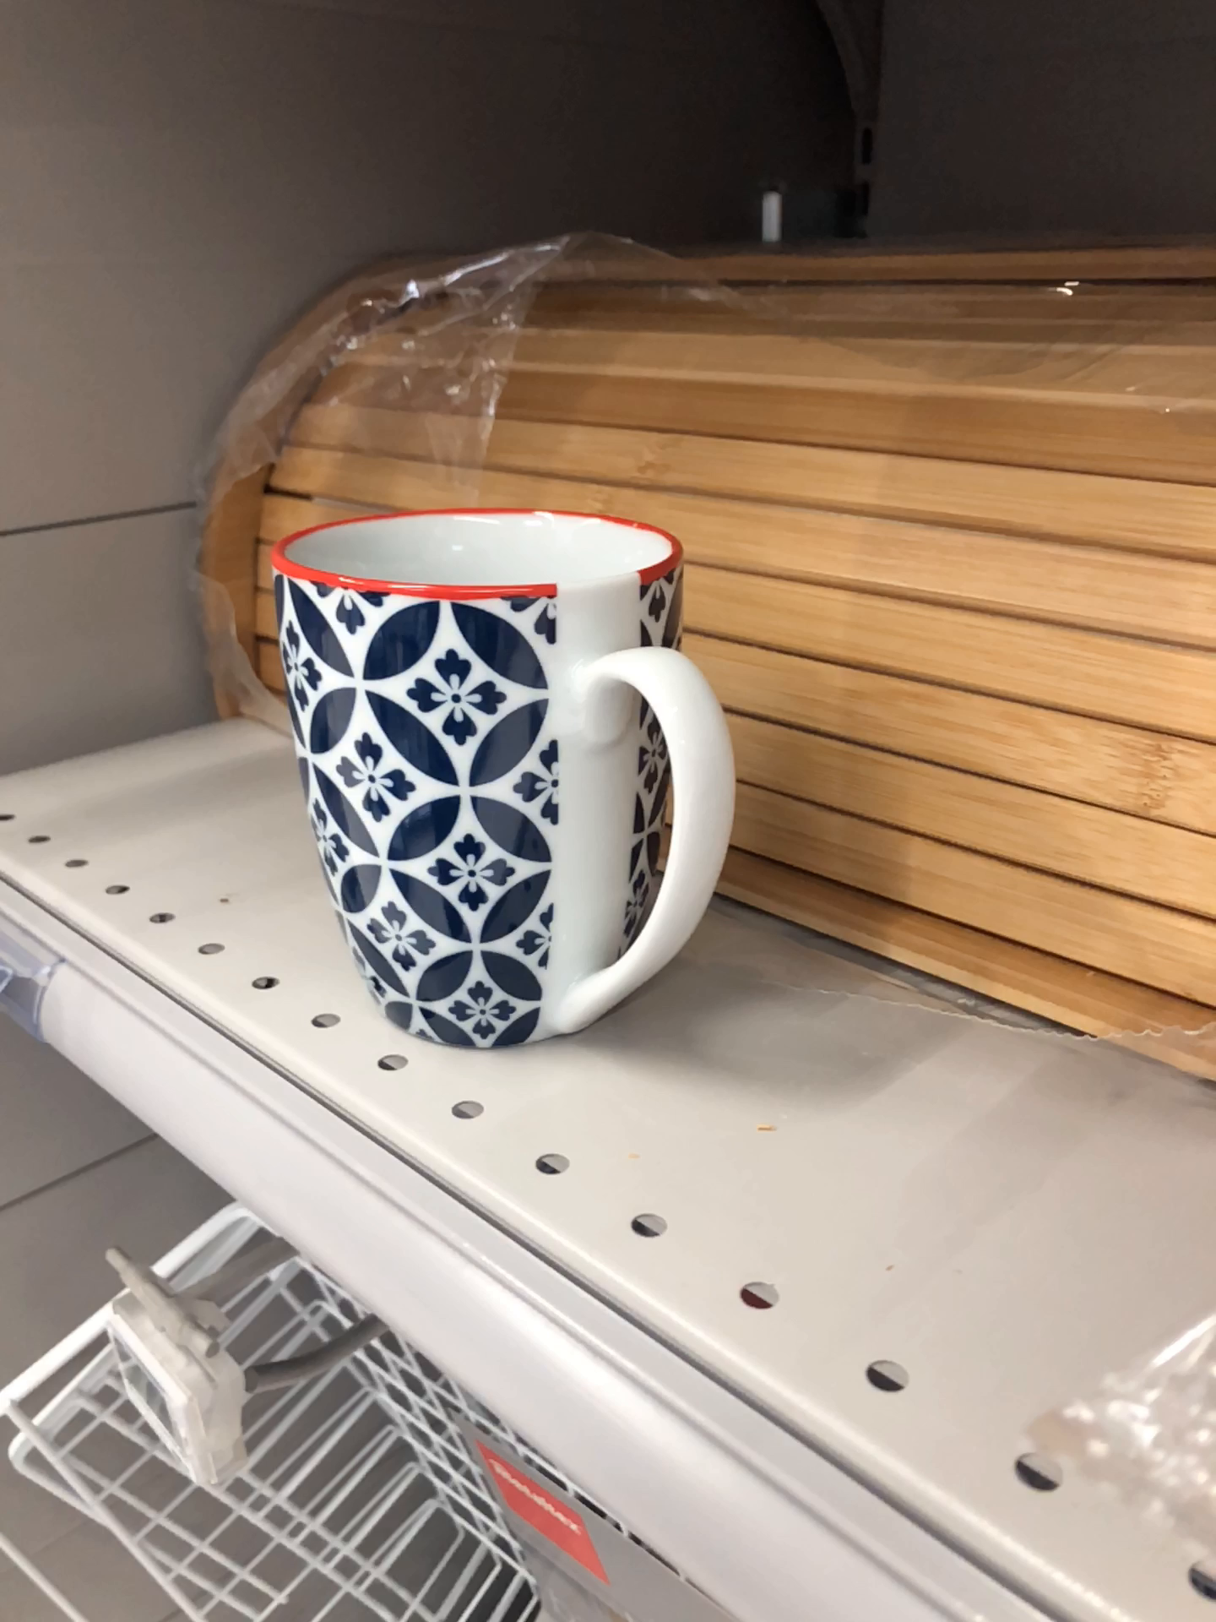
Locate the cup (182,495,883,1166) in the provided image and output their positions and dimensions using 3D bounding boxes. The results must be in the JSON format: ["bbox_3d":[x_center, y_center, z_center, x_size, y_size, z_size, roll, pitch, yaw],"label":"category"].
[{"bbox_3d":[-0.017,-0.008,0.275,0.080,0.090,0.113,-20,29,-40],"label":"cup"}]
